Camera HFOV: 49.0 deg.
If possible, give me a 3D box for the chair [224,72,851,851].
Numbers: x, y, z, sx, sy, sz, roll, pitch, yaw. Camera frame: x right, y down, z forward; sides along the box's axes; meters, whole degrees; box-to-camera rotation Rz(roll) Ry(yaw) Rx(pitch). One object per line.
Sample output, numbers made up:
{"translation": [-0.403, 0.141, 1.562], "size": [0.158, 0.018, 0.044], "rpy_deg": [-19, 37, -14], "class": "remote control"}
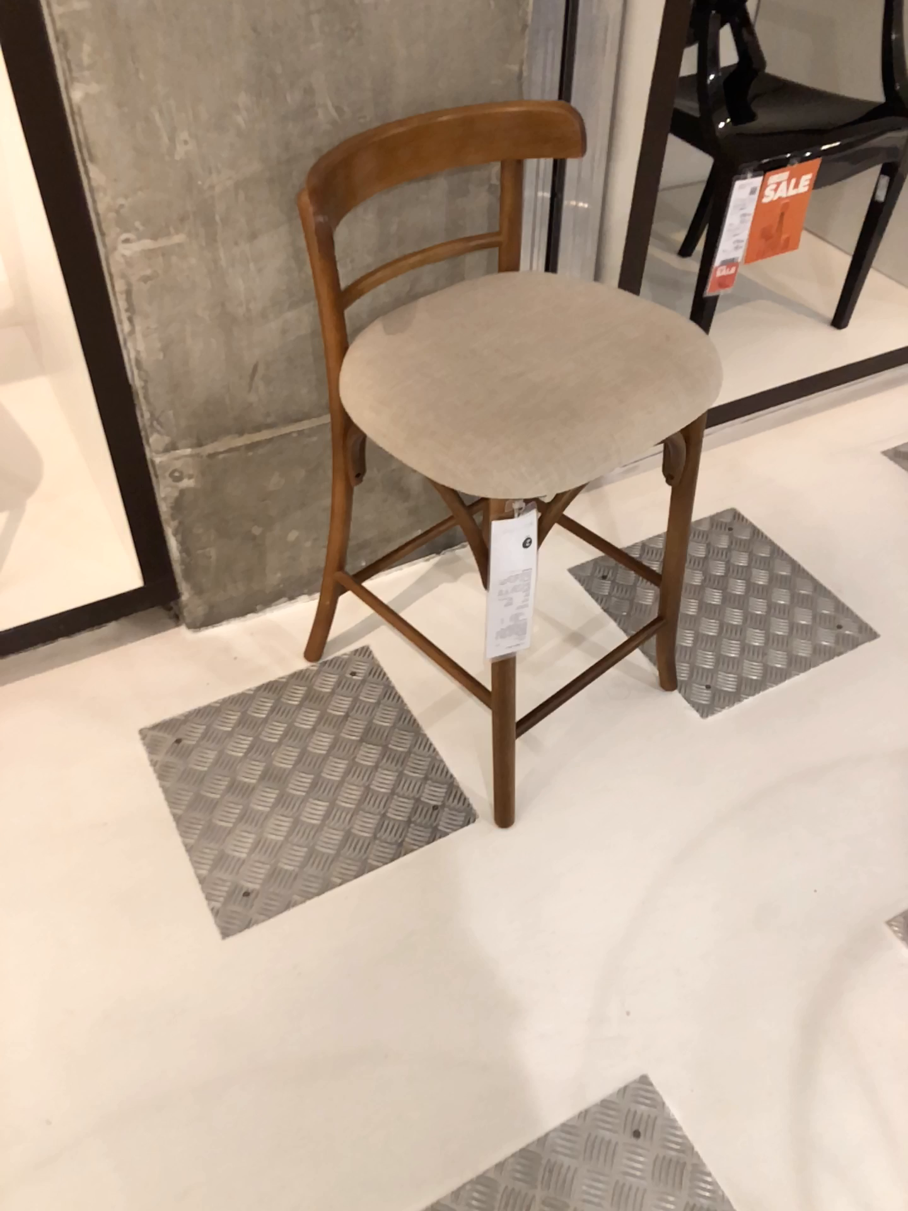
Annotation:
{"translation": [0.078, -0.182, 1.376], "size": [0.492, 0.814, 0.482], "rpy_deg": [-32, 55, -30], "class": "chair"}
